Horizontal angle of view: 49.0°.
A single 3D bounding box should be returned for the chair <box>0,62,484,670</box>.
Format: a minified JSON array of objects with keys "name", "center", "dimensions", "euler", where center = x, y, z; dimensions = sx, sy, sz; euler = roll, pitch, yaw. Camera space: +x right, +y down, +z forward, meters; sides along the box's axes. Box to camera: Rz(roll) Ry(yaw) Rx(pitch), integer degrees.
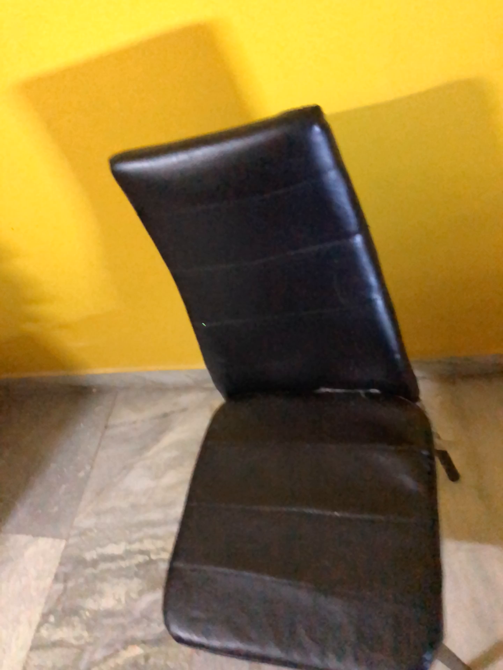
[{"name":"chair","center":[0.054,0.212,0.850],"dimensions":[0.480,0.907,0.532],"euler":[-4,56,26]}]
